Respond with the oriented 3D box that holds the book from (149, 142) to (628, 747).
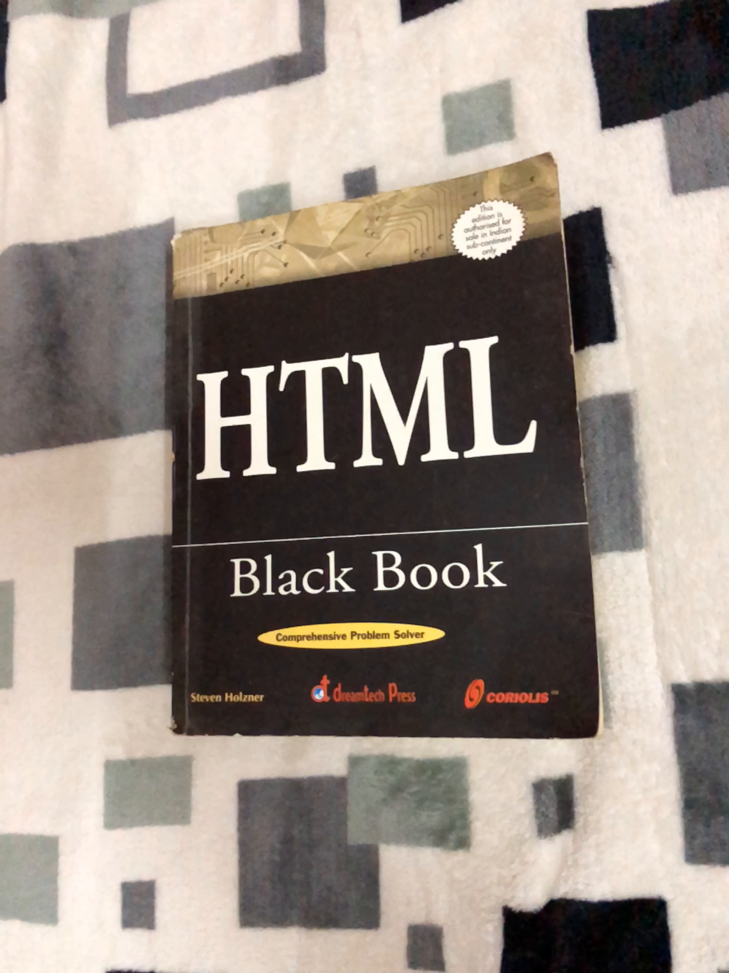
[{"bbox_3d":[0.007,-0.009,0.360,0.190,0.070,0.230,-5,79,17],"label":"book"}]
